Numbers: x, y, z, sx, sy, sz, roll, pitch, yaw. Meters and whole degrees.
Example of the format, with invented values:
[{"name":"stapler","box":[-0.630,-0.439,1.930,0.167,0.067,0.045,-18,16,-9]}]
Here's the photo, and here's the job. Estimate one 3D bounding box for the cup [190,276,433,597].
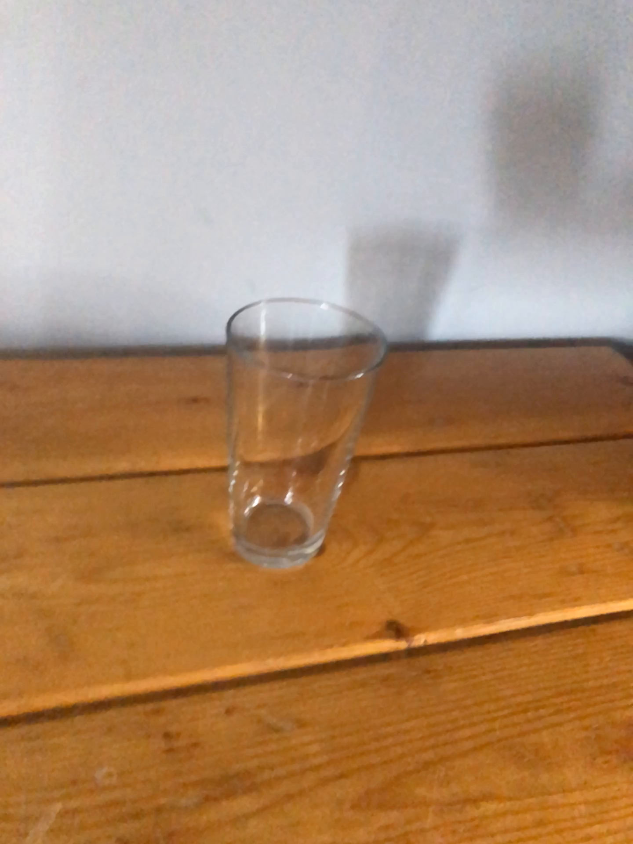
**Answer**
[{"name":"cup","box":[-0.012,0.007,0.409,0.090,0.149,0.090,7,37,-5]}]
